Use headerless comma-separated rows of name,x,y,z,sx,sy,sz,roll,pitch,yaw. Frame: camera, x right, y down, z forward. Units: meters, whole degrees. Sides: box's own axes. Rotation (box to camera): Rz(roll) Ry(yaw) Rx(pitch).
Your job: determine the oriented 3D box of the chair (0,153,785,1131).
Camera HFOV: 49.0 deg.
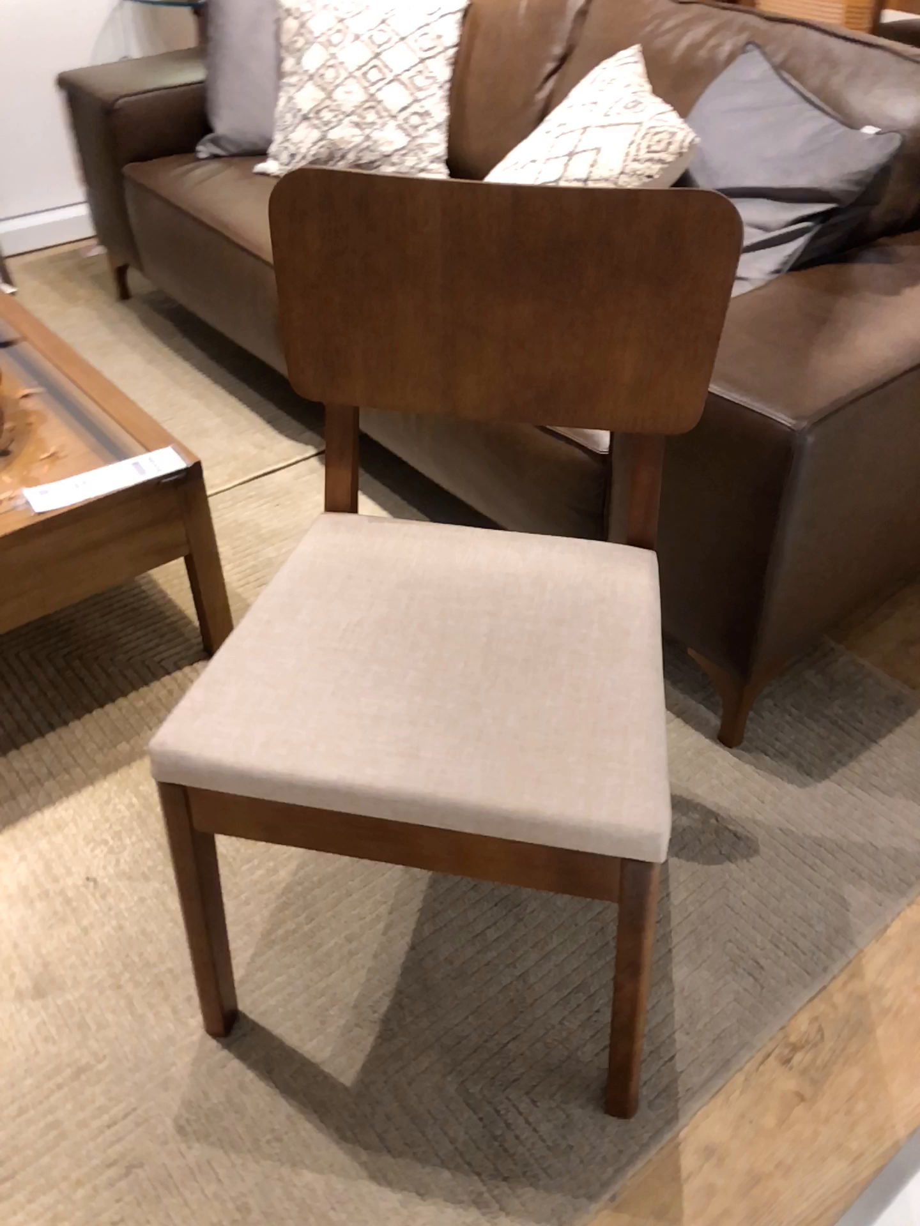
chair,-0.016,0.035,1.043,0.510,0.794,0.534,7,40,9
